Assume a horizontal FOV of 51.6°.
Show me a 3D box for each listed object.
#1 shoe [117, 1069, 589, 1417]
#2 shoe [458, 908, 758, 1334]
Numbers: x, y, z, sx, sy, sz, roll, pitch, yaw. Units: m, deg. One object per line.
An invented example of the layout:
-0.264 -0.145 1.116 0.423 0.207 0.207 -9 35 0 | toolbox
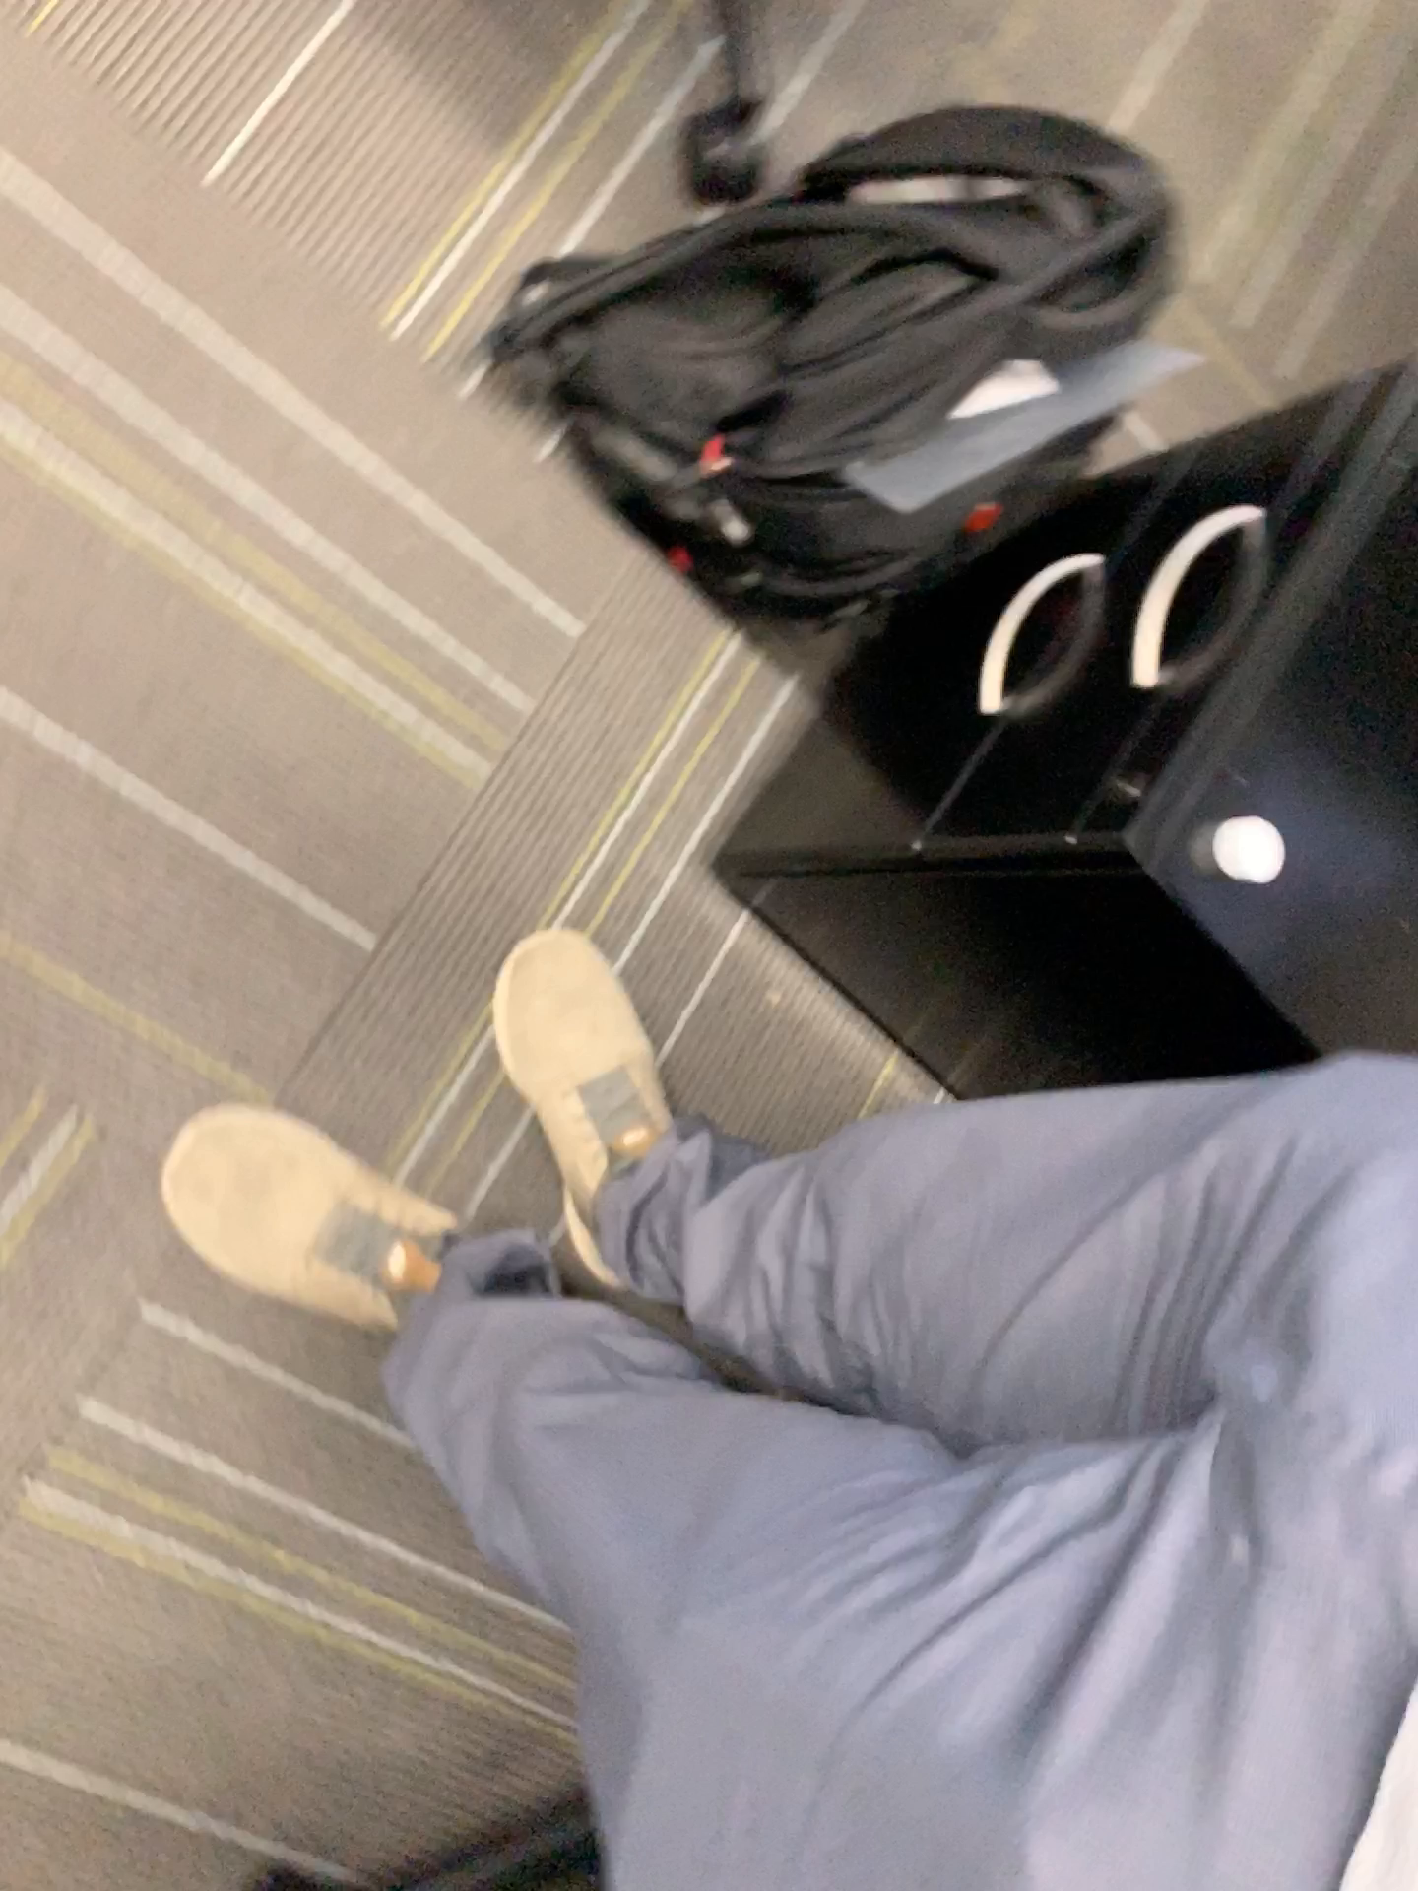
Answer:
-0.258 0.220 1.083 0.302 0.098 0.126 32 78 -24 | shoe
-0.078 0.131 1.139 0.107 0.098 0.301 -25 102 -24 | shoe
